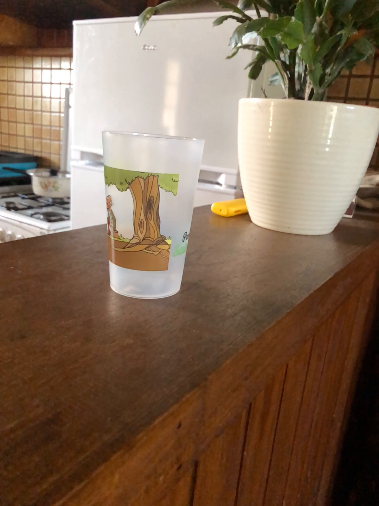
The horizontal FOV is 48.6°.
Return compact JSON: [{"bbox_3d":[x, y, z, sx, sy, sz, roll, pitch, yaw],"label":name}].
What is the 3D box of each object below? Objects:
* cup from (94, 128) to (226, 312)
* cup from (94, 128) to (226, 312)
[{"bbox_3d":[-0.028,-0.028,0.318,0.080,0.120,0.080,5,16,-1],"label":"cup"},{"bbox_3d":[-0.028,-0.028,0.318,0.080,0.120,0.080,5,16,-1],"label":"cup"}]
